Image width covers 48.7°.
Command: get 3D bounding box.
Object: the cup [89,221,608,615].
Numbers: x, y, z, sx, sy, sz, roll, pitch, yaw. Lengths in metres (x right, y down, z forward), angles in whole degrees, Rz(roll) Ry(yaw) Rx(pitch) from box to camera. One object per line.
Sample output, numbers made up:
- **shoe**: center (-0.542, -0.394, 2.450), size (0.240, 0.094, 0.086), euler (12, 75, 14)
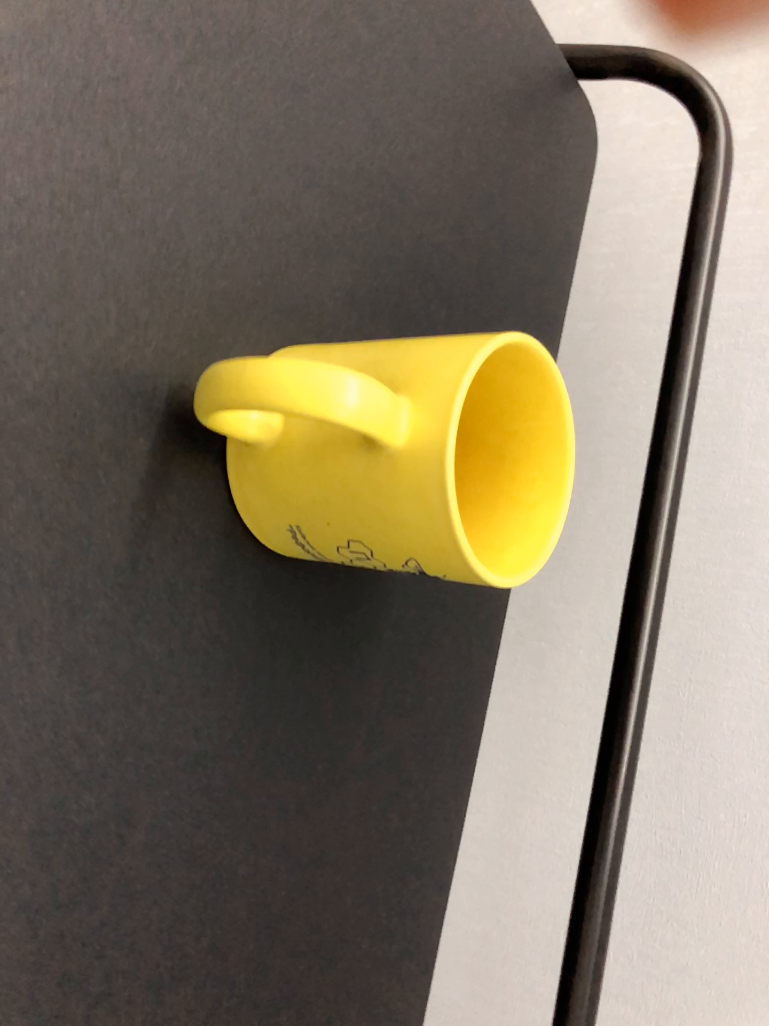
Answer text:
- **cup**: center (-0.005, -0.020, 0.276), size (0.126, 0.101, 0.089), euler (11, 85, -53)
